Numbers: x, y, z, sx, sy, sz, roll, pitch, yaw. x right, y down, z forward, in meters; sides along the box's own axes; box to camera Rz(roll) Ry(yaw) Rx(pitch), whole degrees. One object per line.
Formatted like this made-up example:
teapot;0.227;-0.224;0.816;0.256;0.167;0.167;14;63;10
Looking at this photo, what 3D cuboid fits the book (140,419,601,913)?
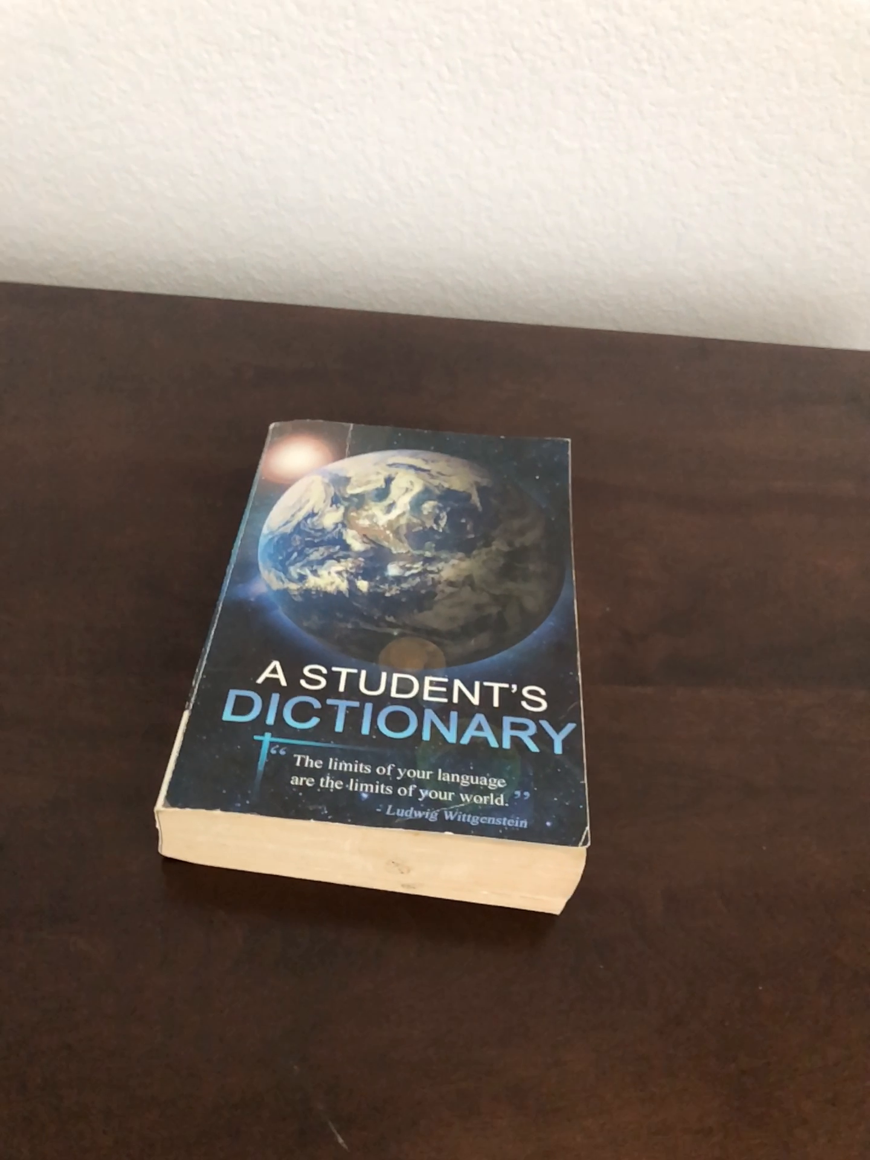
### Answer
book;-0.014;0.019;0.378;0.140;0.040;0.203;4;47;1
